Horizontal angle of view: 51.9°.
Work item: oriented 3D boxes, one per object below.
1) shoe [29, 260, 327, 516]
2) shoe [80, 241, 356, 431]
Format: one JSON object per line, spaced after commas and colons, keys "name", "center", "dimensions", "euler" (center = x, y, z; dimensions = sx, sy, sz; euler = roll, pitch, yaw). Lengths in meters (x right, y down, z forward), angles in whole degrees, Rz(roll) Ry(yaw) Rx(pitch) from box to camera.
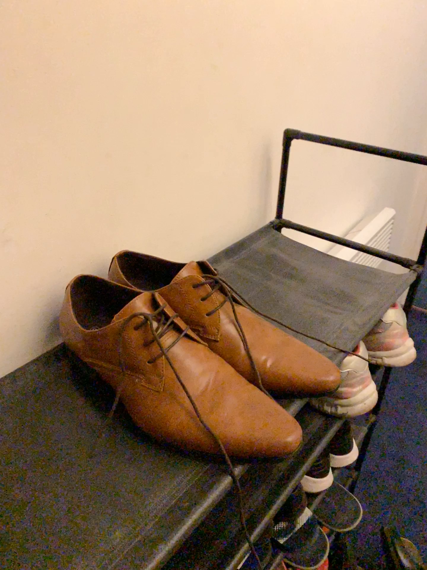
{"name": "shoe", "center": [-0.050, 0.081, 0.454], "dimensions": [0.301, 0.099, 0.101], "euler": [22, 38, 32]}
{"name": "shoe", "center": [-0.003, 0.044, 0.521], "dimensions": [0.301, 0.099, 0.101], "euler": [16, 35, 25]}
